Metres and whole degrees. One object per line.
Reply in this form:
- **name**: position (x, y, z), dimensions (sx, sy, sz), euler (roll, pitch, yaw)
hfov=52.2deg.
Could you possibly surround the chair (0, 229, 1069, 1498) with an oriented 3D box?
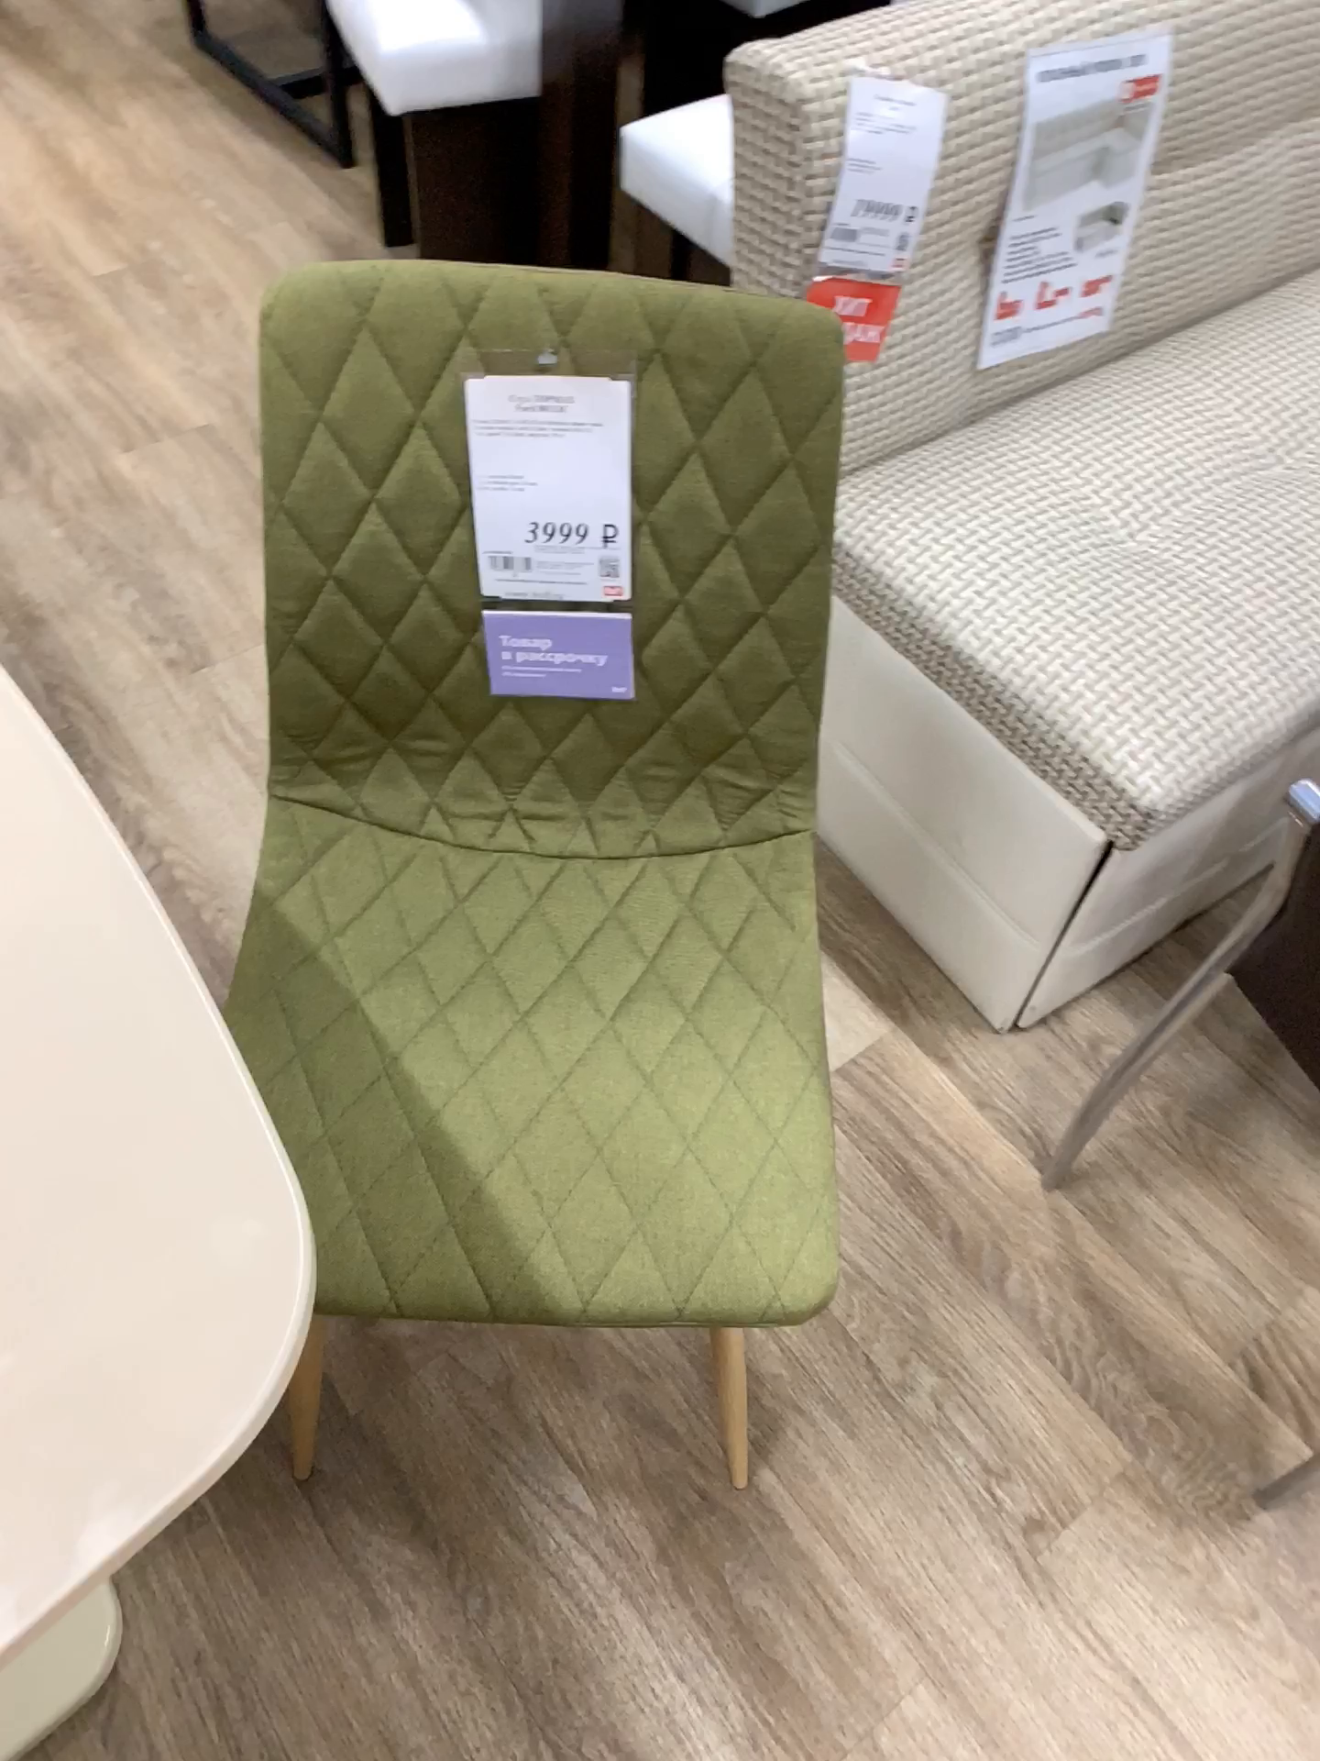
- **chair**: position (-0.106, 0.070, 1.038), dimensions (0.500, 0.836, 0.562), euler (3, 53, -2)
